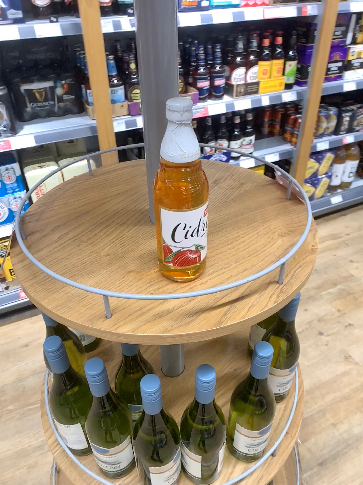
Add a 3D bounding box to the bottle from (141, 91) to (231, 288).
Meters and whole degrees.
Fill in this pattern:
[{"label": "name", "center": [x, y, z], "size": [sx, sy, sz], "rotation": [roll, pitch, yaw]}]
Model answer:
[{"label": "bottle", "center": [0.005, -0.057, 0.452], "size": [0.069, 0.218, 0.071], "rotation": [-1, 37, 1]}]
